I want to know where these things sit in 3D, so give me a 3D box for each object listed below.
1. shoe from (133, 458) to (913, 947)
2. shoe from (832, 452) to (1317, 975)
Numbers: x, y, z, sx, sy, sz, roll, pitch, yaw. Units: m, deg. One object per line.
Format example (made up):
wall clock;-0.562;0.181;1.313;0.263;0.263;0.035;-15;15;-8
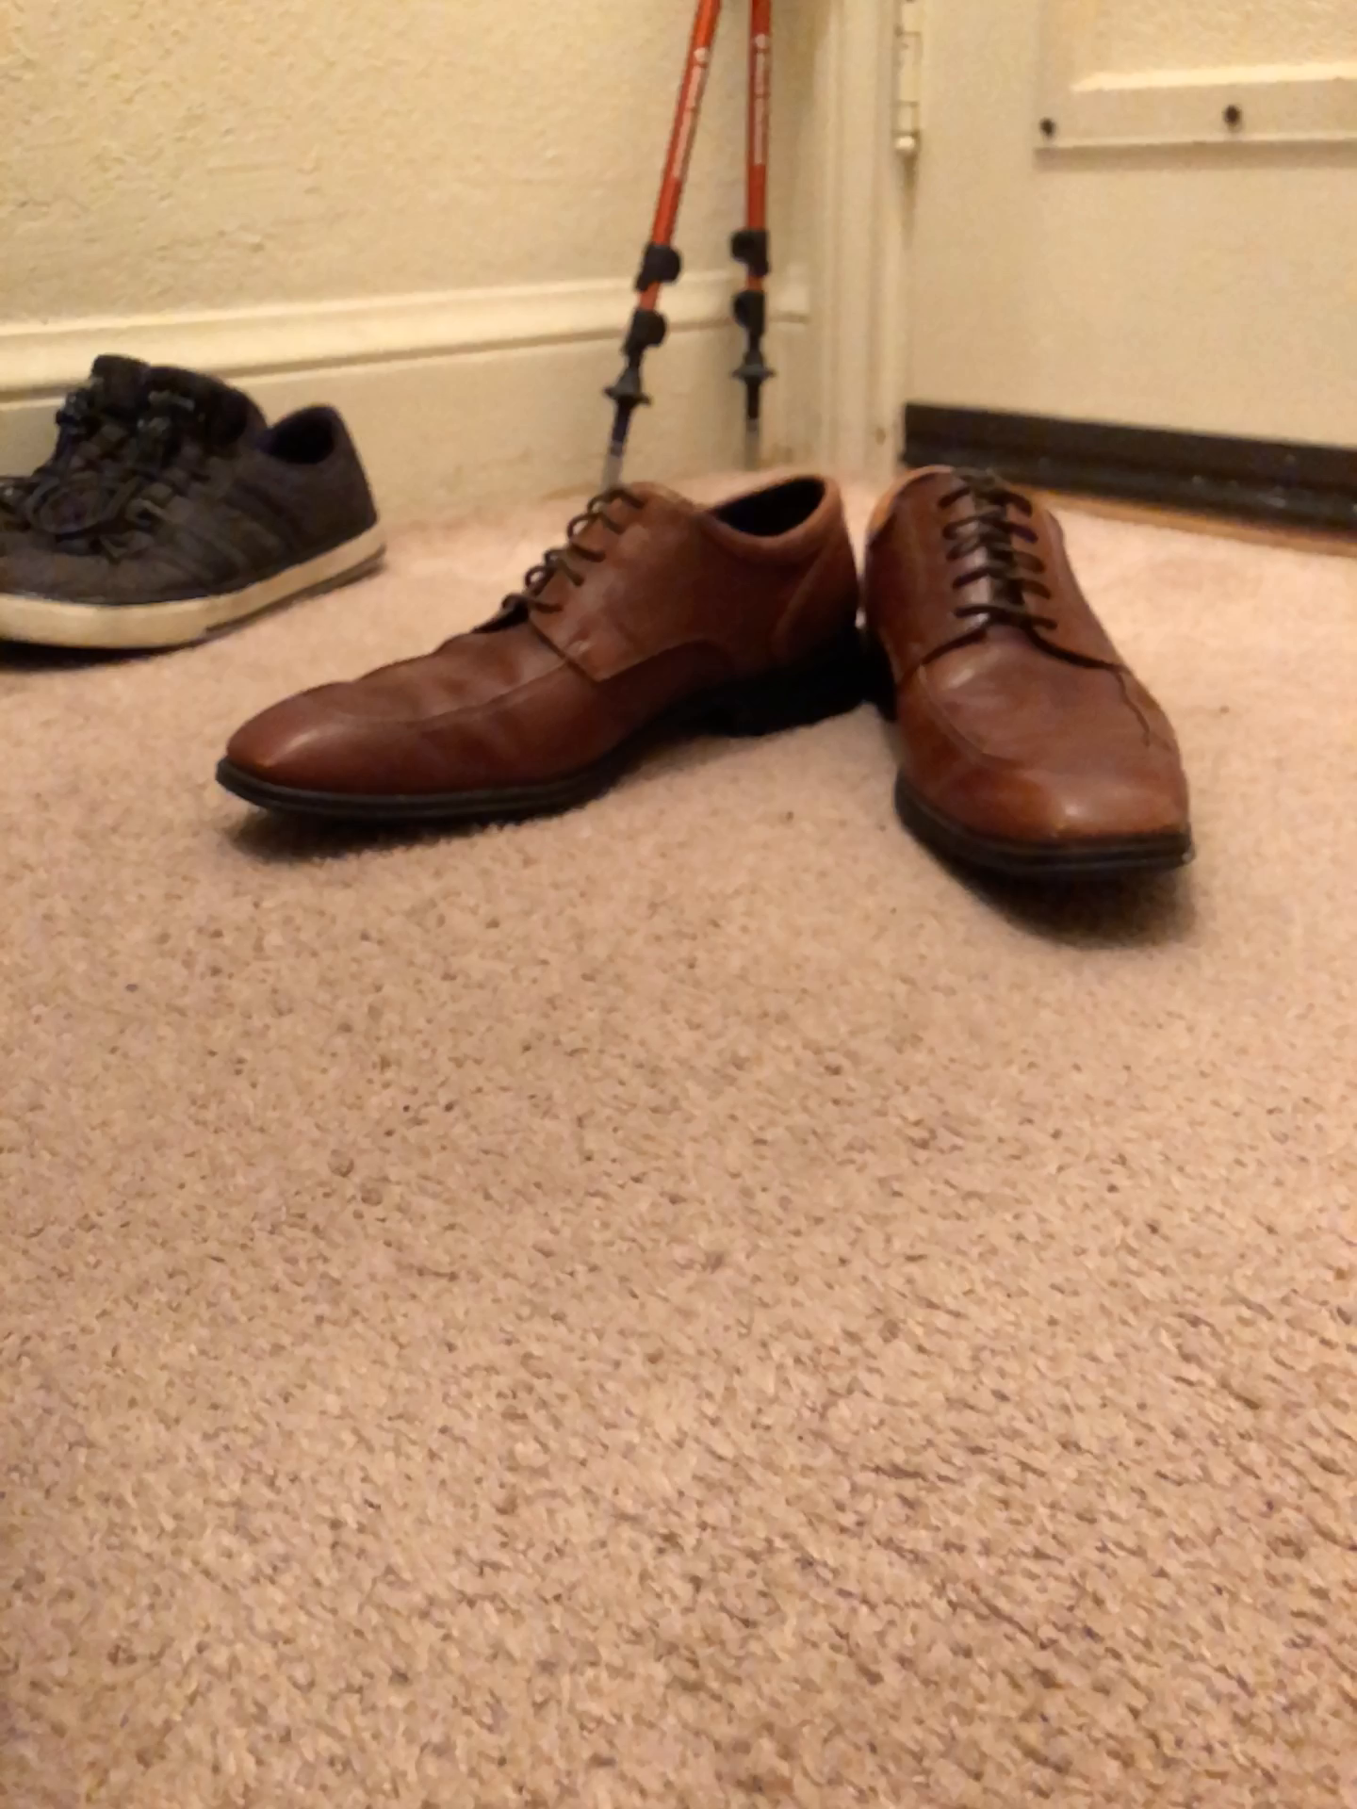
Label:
shoe;-0.051;-0.102;0.641;0.301;0.119;0.120;-20;32;-34
shoe;0.130;-0.094;0.593;0.100;0.109;0.302;-2;26;-1
